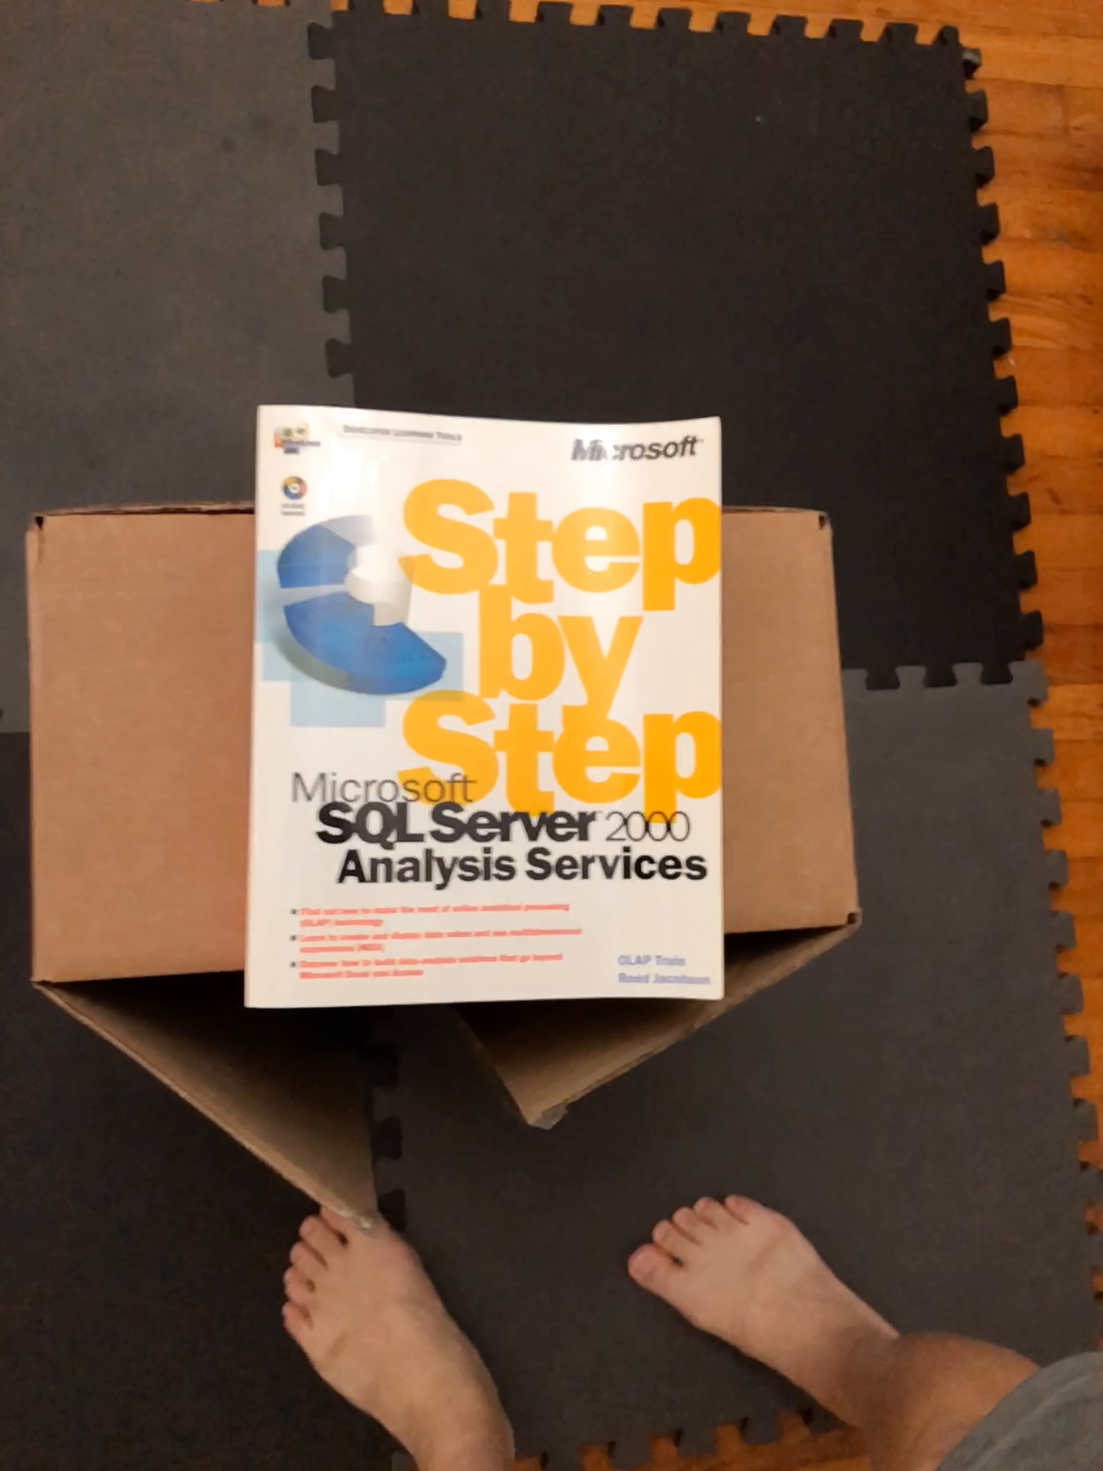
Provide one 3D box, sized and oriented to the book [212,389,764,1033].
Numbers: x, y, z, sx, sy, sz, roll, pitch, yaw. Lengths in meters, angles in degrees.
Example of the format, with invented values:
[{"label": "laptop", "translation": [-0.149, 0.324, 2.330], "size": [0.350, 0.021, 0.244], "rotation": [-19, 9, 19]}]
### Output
[{"label": "book", "translation": [-0.027, -0.016, 0.502], "size": [0.200, 0.050, 0.240], "rotation": [-5, 87, -14]}]
